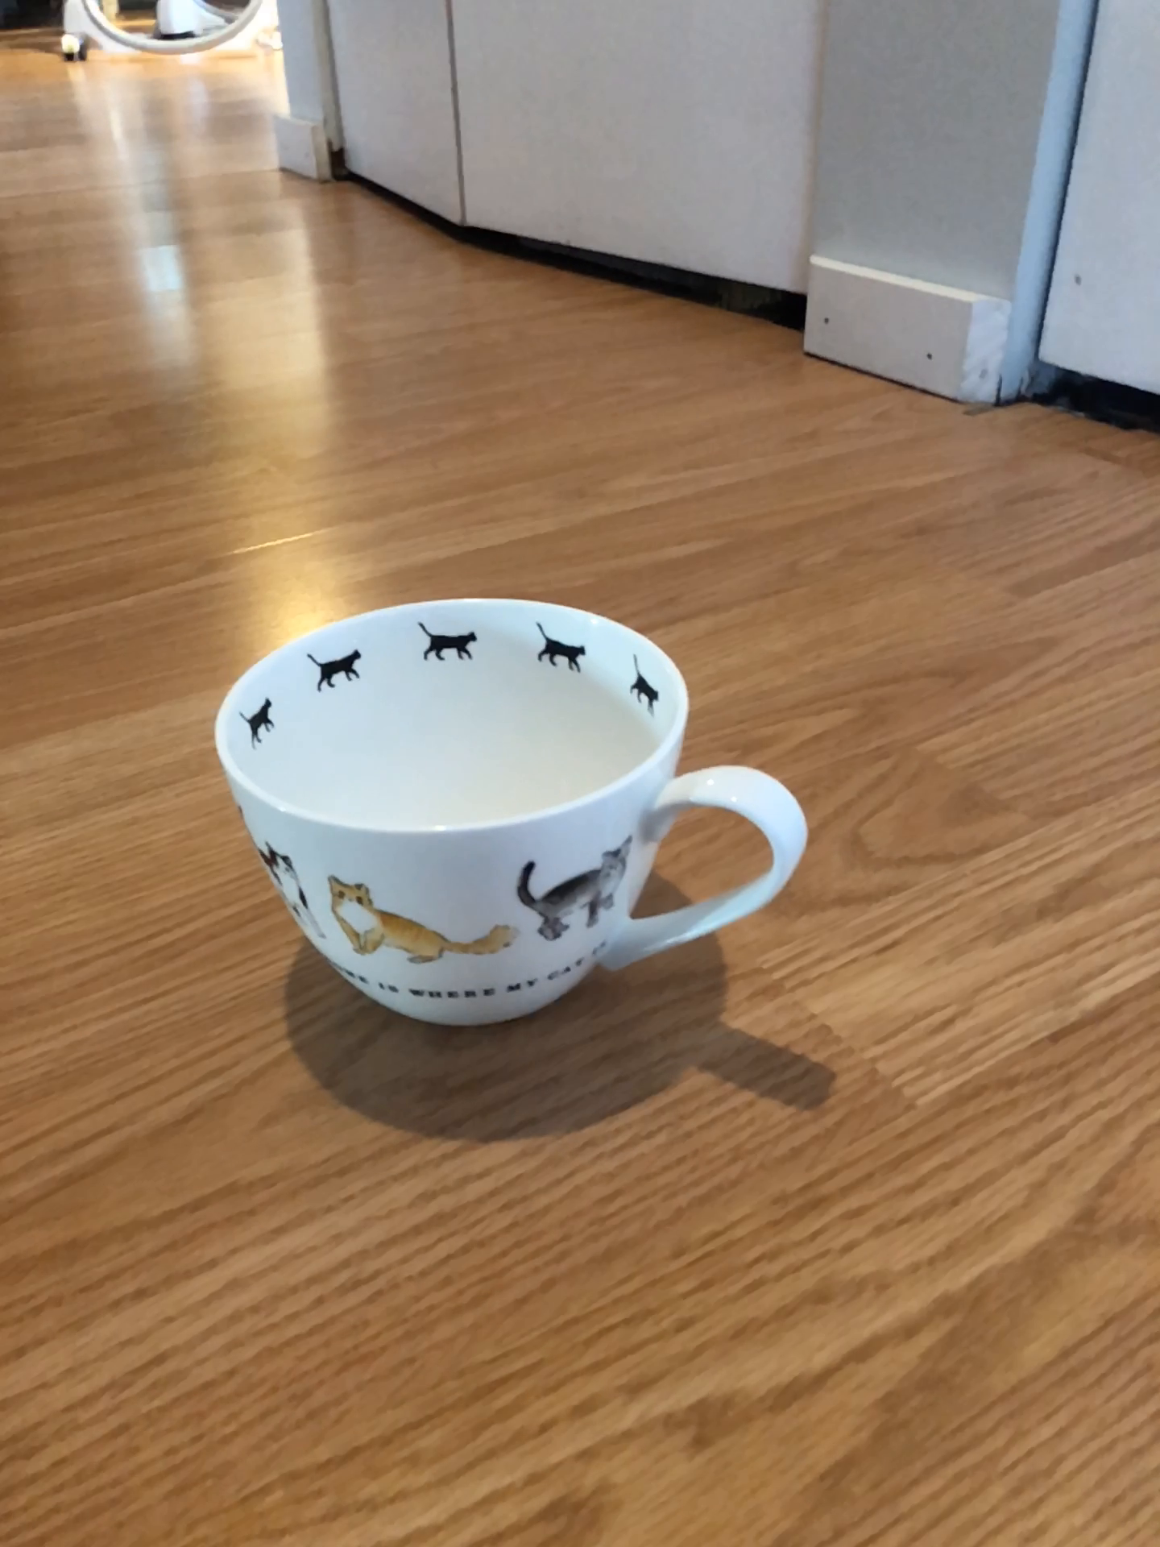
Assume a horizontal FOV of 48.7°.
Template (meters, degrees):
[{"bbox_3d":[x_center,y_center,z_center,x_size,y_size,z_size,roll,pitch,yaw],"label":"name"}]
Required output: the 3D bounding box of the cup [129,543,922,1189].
[{"bbox_3d":[-0.009,0.011,0.343,0.160,0.080,0.120,15,37,24],"label":"cup"}]
